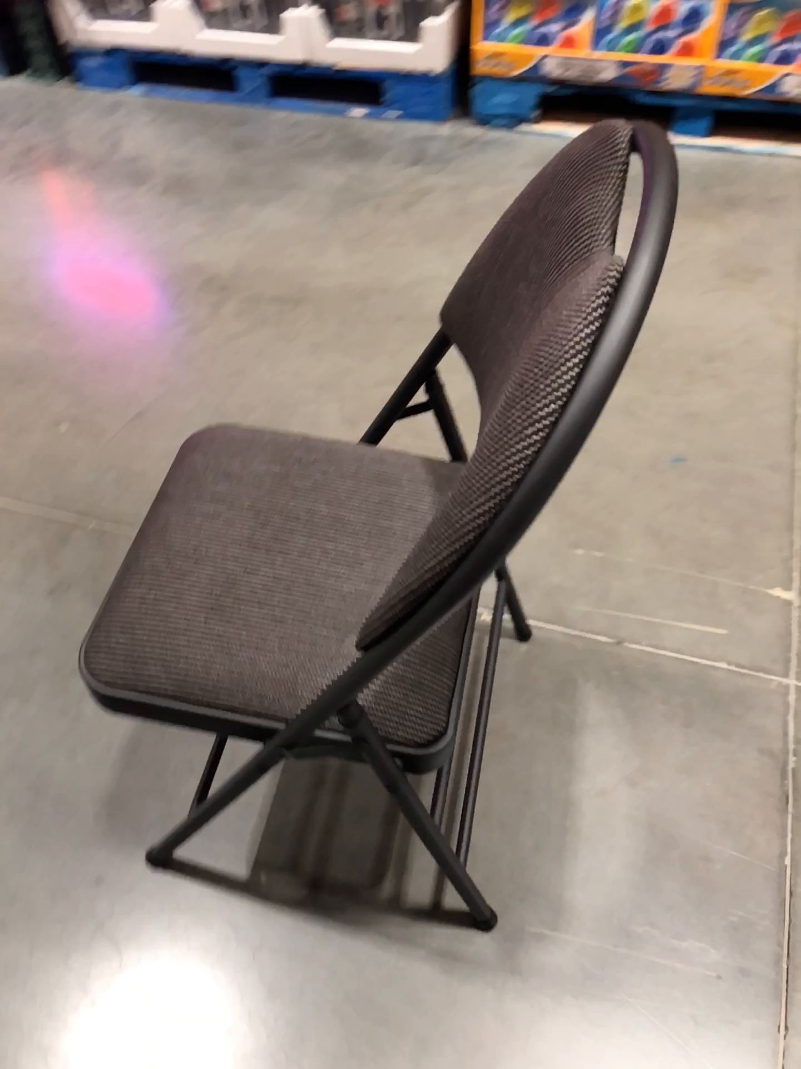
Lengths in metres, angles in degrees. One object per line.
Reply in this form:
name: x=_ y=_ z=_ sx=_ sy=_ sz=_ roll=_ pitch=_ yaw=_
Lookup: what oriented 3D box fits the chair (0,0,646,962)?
chair: x=-0.108 y=-0.006 z=0.928 sx=0.560 sy=0.867 sz=0.522 roll=7 pitch=50 yaw=9
